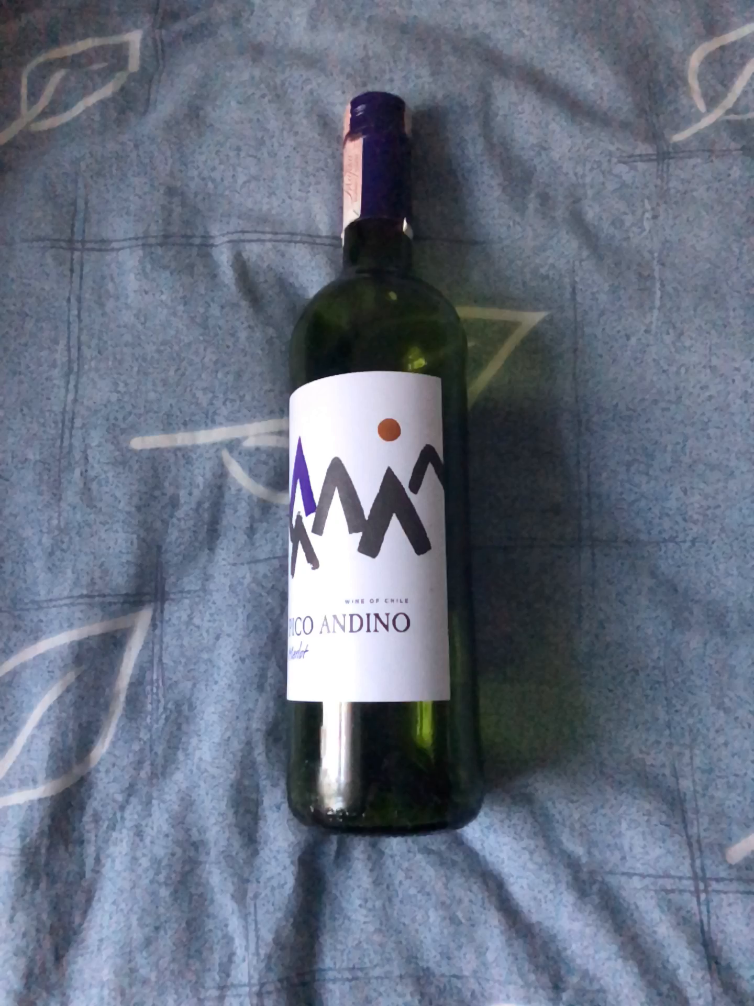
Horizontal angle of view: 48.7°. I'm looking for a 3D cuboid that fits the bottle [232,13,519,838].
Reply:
[{"bbox_3d":[0.001,-0.030,0.333,0.080,0.080,0.290,-6,77,22],"label":"bottle"}]
